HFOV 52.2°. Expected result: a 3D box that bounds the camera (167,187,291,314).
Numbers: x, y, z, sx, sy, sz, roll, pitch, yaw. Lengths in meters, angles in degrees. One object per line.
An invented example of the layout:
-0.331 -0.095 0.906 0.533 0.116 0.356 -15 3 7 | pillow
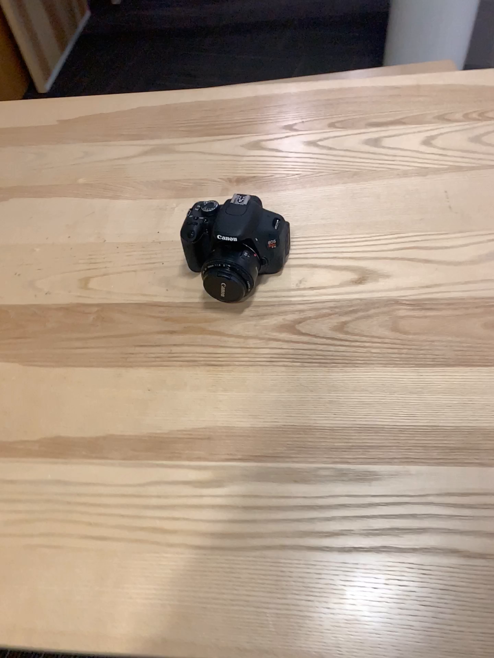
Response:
-0.016 -0.101 0.646 0.123 0.094 0.116 9 55 13 | camera
